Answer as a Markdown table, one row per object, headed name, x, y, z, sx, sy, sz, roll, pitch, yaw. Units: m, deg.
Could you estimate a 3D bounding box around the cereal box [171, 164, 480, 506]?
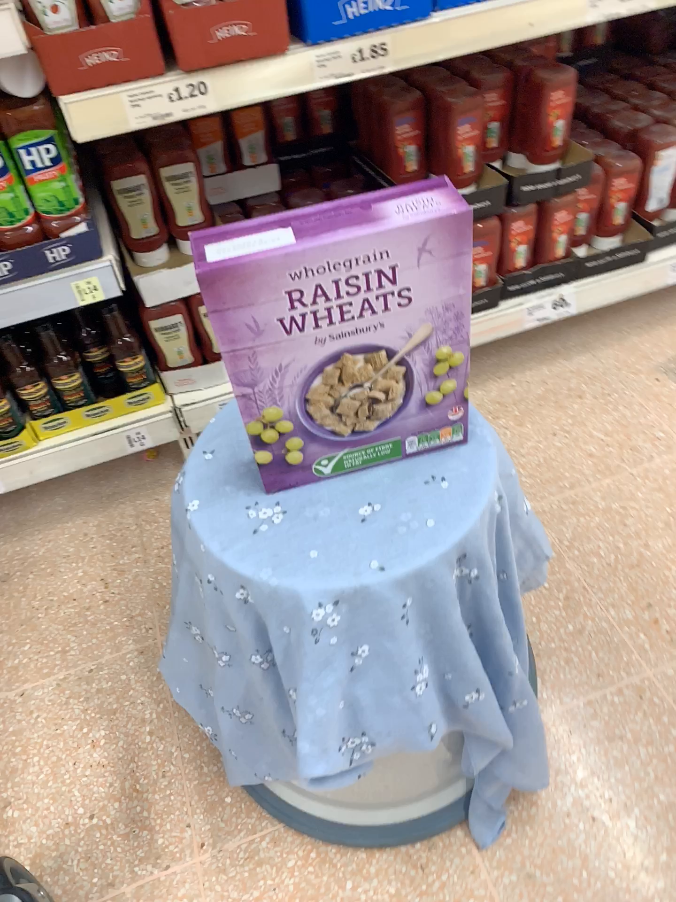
| name | x | y | z | sx | sy | sz | roll | pitch | yaw |
| --- | --- | --- | --- | --- | --- | --- | --- | --- | --- |
| cereal box | 0.001 | -0.078 | 0.546 | 0.200 | 0.238 | 0.061 | -14 | 46 | -5 |
